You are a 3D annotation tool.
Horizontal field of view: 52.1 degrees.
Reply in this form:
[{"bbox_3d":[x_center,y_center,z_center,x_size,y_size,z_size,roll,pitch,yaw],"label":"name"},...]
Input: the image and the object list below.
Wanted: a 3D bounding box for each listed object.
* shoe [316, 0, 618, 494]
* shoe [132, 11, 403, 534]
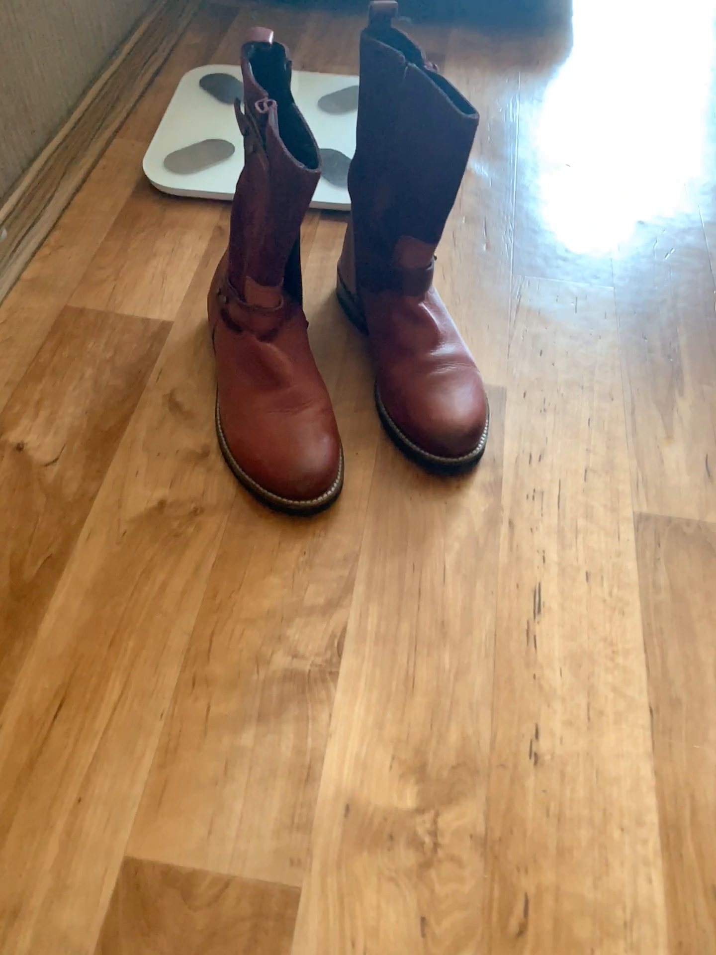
[{"bbox_3d":[0.048,-0.166,0.535,0.090,0.239,0.251,-13,55,-12],"label":"shoe"},{"bbox_3d":[-0.068,-0.141,0.526,0.100,0.249,0.251,-13,55,-12],"label":"shoe"}]
